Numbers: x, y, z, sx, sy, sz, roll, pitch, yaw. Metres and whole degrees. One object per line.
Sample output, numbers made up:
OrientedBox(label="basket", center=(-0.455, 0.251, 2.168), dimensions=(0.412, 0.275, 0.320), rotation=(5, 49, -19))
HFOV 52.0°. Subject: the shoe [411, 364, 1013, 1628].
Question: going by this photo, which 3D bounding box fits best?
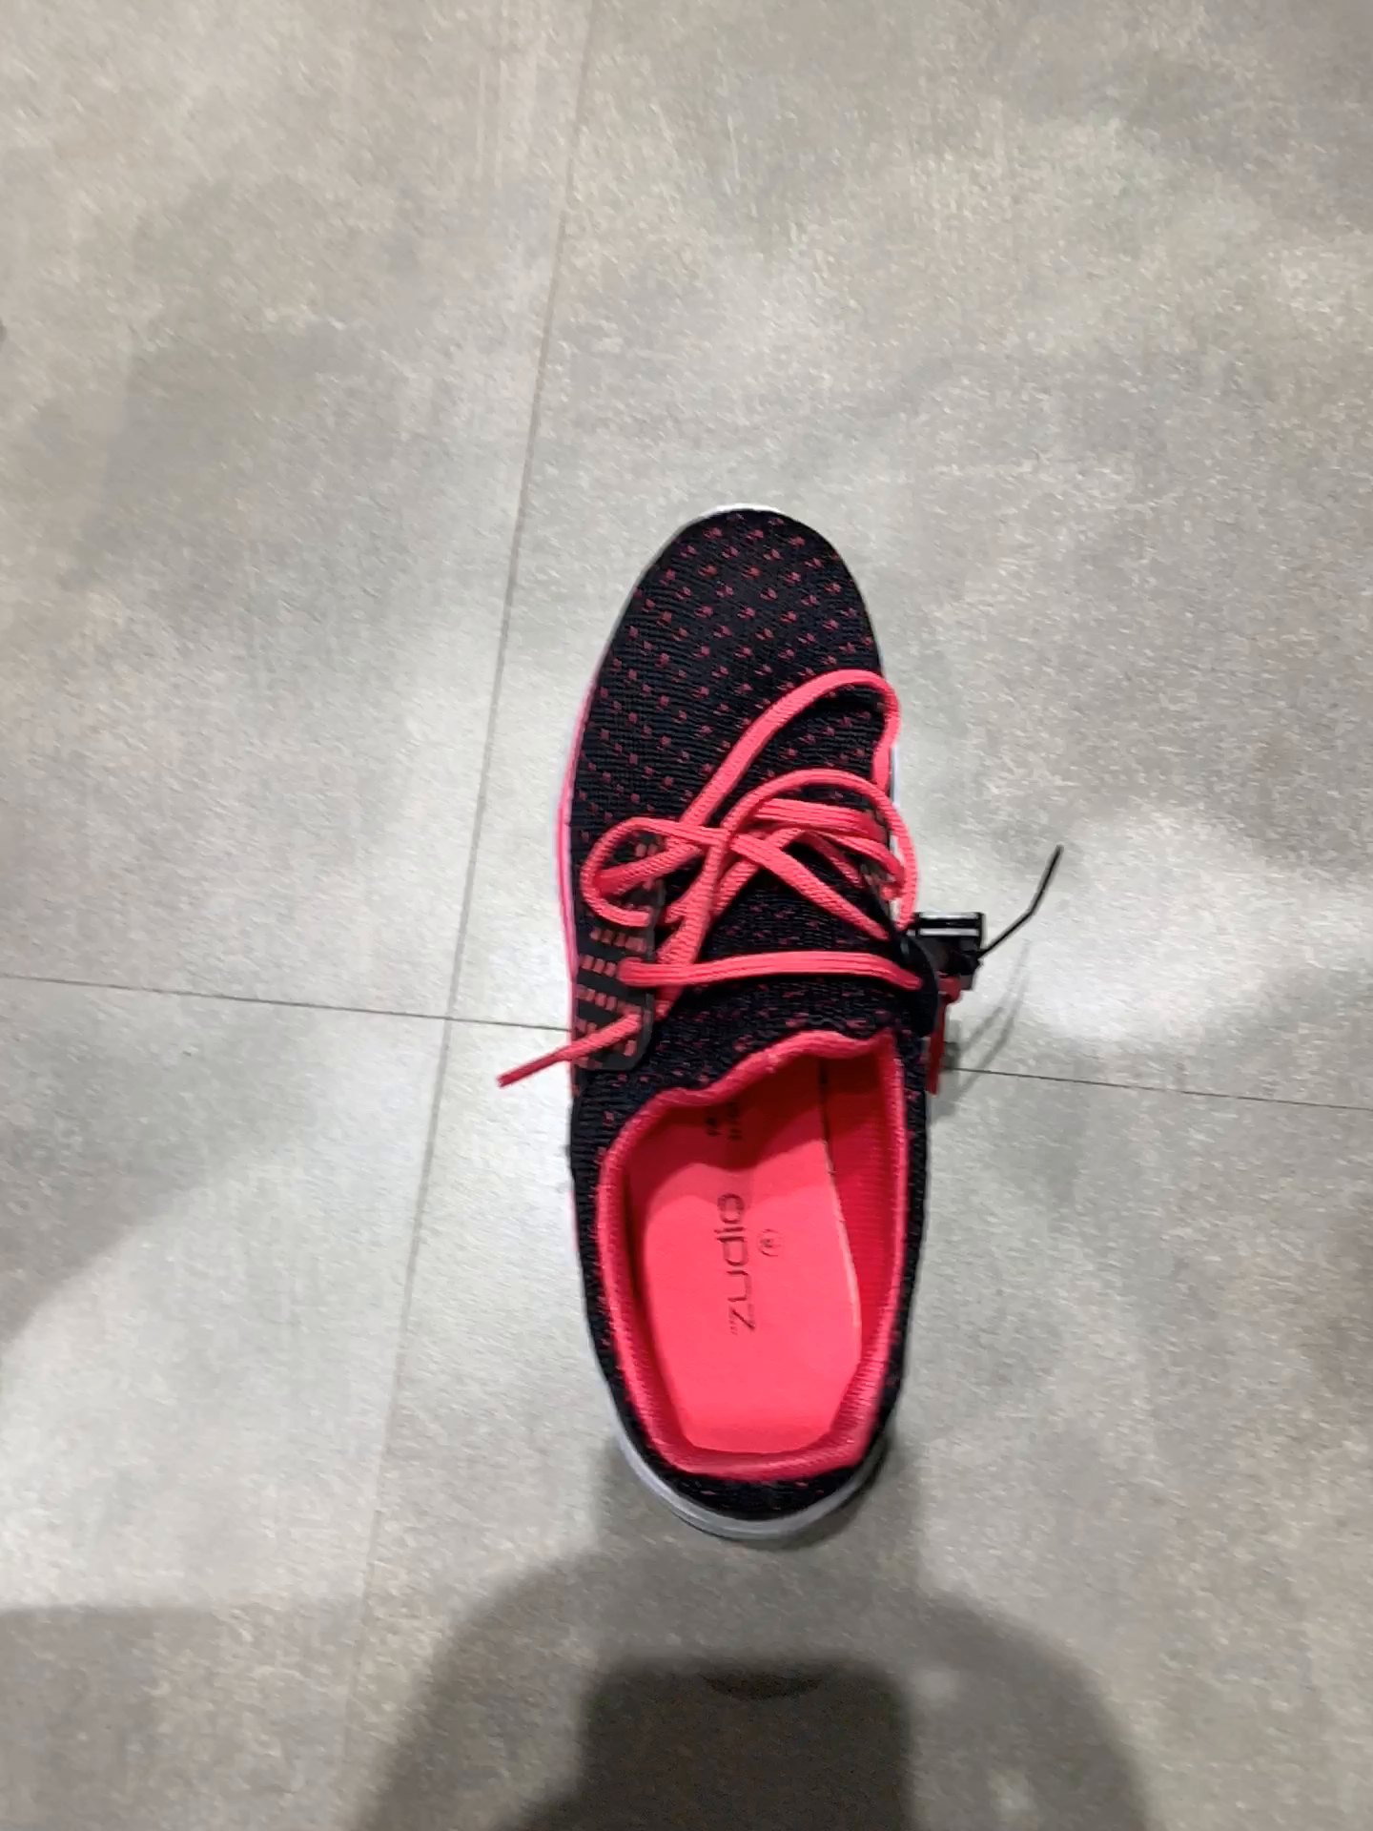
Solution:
OrientedBox(label="shoe", center=(0.005, 0.016, 0.342), dimensions=(0.110, 0.110, 0.263), rotation=(0, 76, 1))
